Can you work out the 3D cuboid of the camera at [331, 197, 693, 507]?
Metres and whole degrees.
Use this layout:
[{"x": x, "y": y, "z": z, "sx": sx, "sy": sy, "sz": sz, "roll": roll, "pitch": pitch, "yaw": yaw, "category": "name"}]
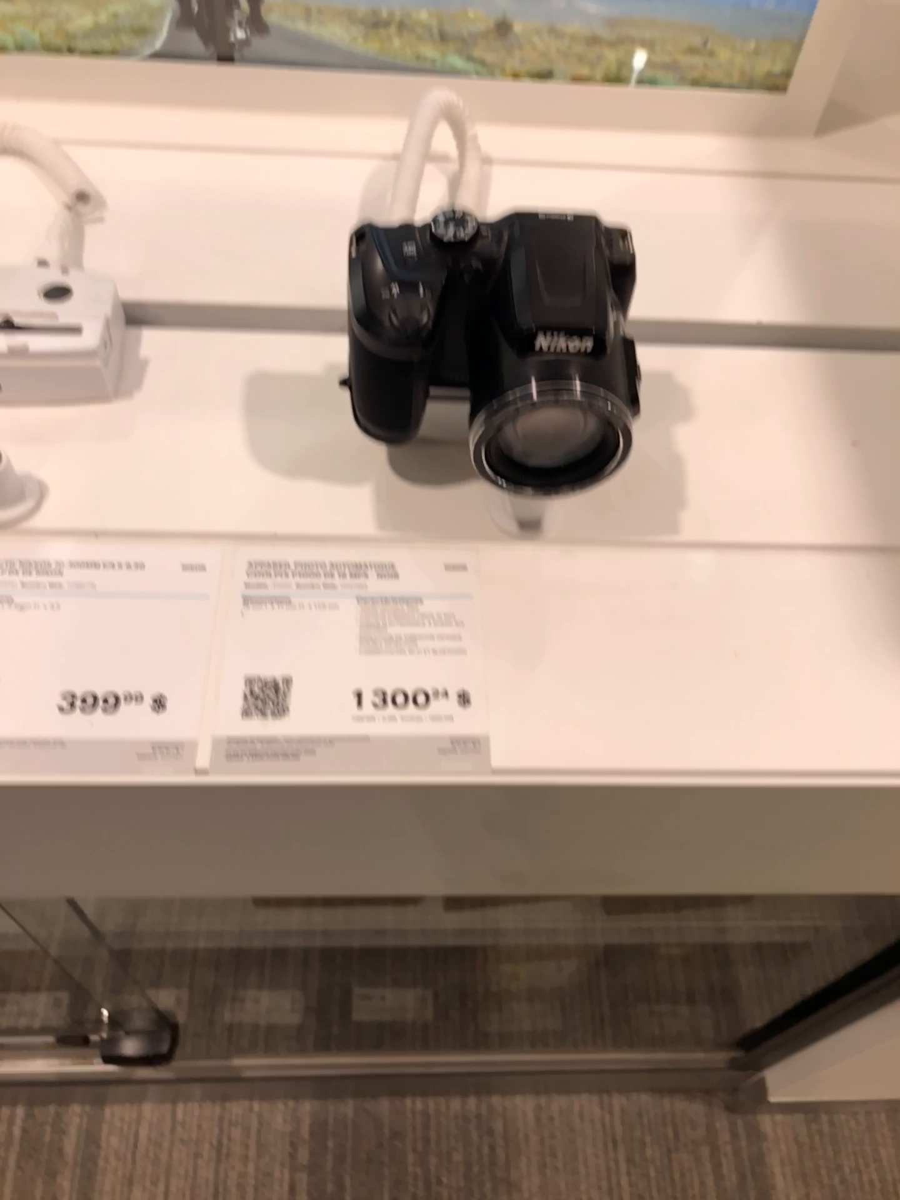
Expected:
[{"x": 0.016, "y": -0.092, "z": 0.374, "sx": 0.117, "sy": 0.067, "sz": 0.092, "roll": 0, "pitch": 55, "yaw": -5, "category": "camera"}]
